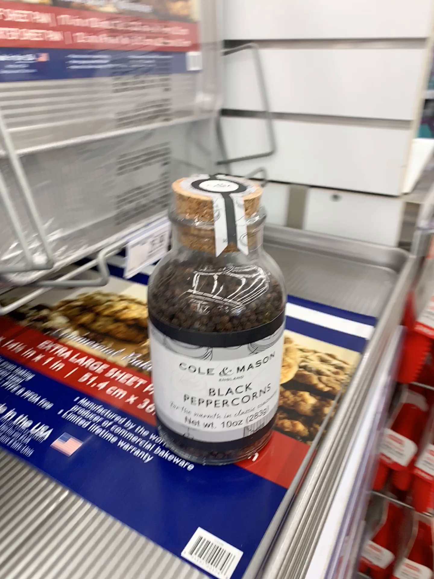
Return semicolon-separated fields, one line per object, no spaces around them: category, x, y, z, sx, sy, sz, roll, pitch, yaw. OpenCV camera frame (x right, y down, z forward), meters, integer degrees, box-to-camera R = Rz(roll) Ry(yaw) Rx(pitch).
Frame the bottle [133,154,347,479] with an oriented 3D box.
bottle;0.005;0.013;0.263;0.090;0.159;0.090;0;28;0
